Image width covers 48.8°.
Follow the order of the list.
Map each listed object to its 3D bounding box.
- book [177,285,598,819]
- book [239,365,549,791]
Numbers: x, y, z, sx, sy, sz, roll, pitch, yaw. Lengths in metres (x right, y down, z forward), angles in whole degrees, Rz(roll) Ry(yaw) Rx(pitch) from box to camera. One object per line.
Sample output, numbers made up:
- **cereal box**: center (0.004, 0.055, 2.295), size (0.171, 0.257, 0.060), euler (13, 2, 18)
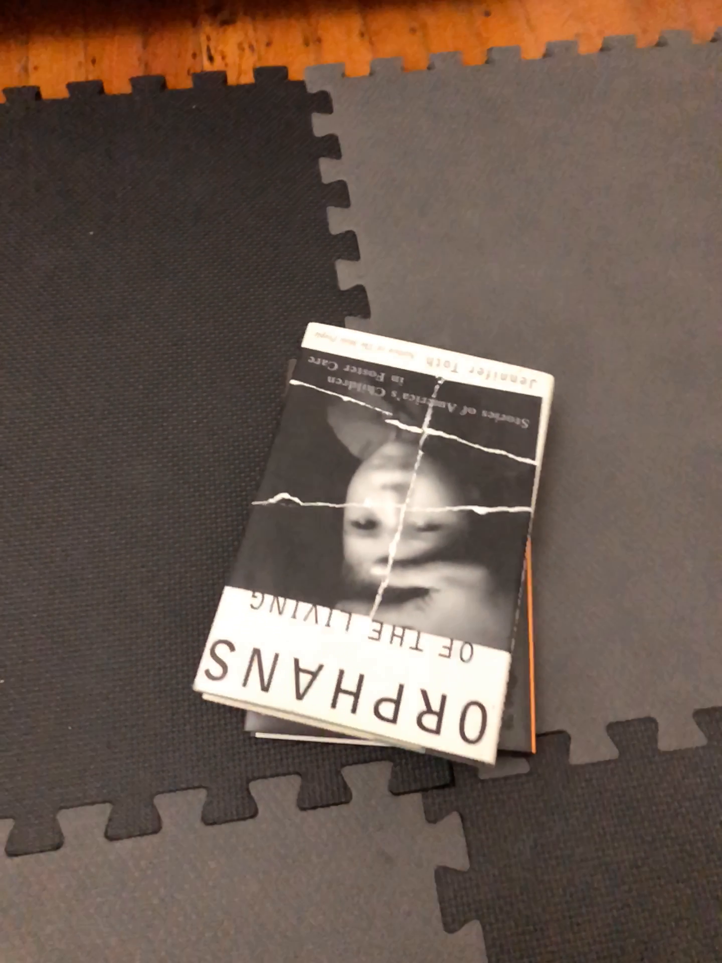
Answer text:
- **book**: center (0.028, 0.023, 0.456), size (0.180, 0.030, 0.281), euler (12, 65, 5)
- **book**: center (0.022, 0.047, 0.477), size (0.160, 0.030, 0.251), euler (2, 65, 1)
